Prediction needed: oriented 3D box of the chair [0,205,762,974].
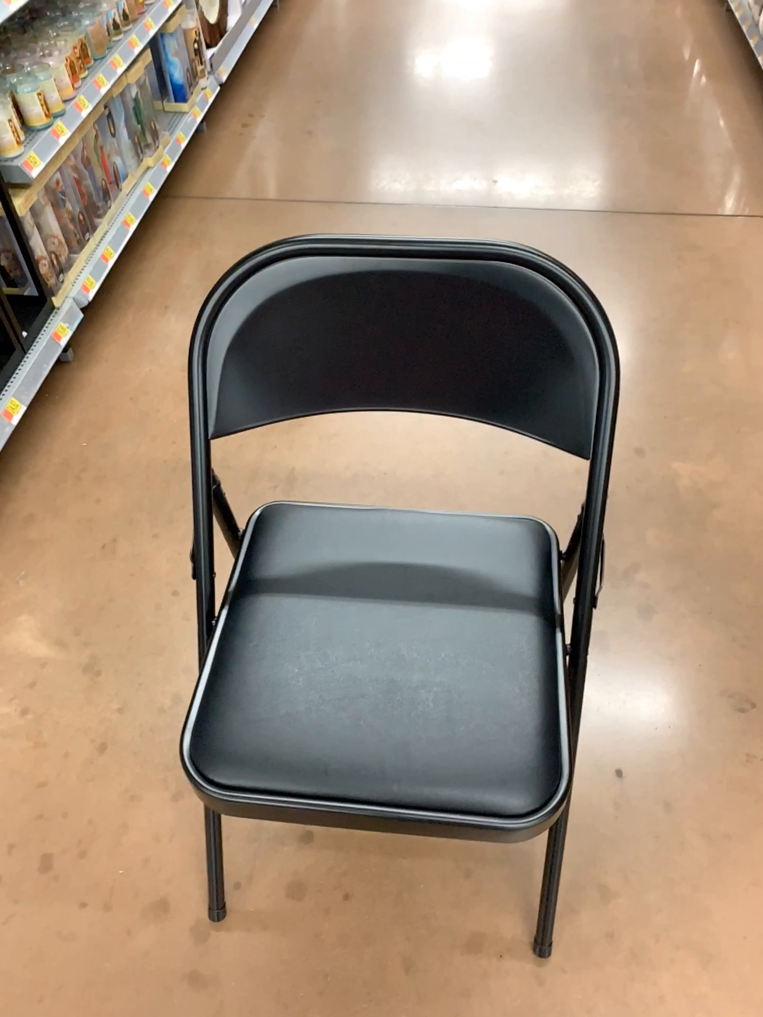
[{"bbox_3d":[-0.004,0.131,0.829,0.470,0.697,0.472,3,50,5],"label":"chair"}]
